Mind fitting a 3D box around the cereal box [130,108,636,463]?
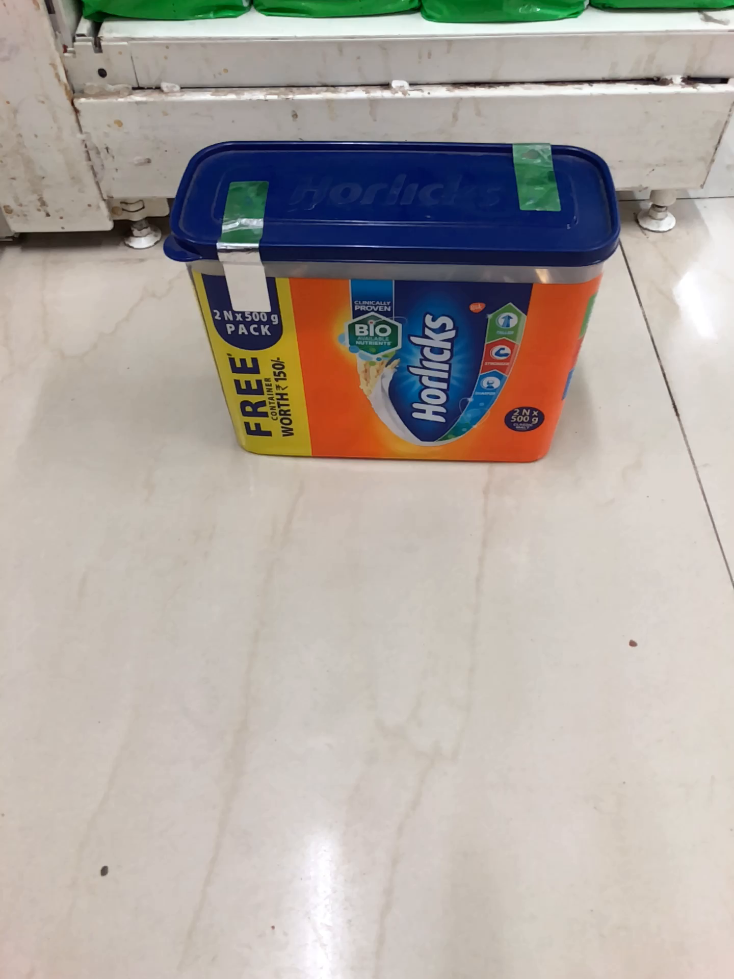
[{"bbox_3d":[0.010,-0.106,0.446,0.220,0.159,0.101,1,54,3],"label":"cereal box"}]
